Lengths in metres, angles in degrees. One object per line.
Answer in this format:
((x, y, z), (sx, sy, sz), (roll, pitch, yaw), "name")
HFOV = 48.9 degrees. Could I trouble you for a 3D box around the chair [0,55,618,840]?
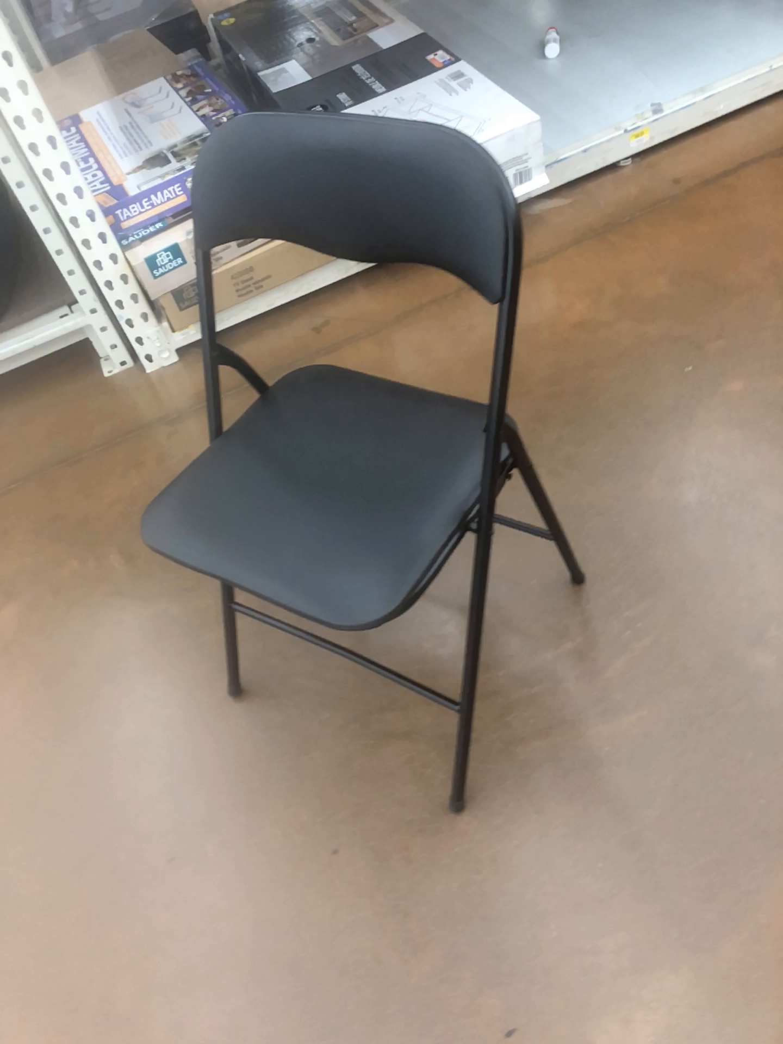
((-0.068, -0.078, 1.088), (0.521, 0.758, 0.490), (20, 58, 30), "chair")
